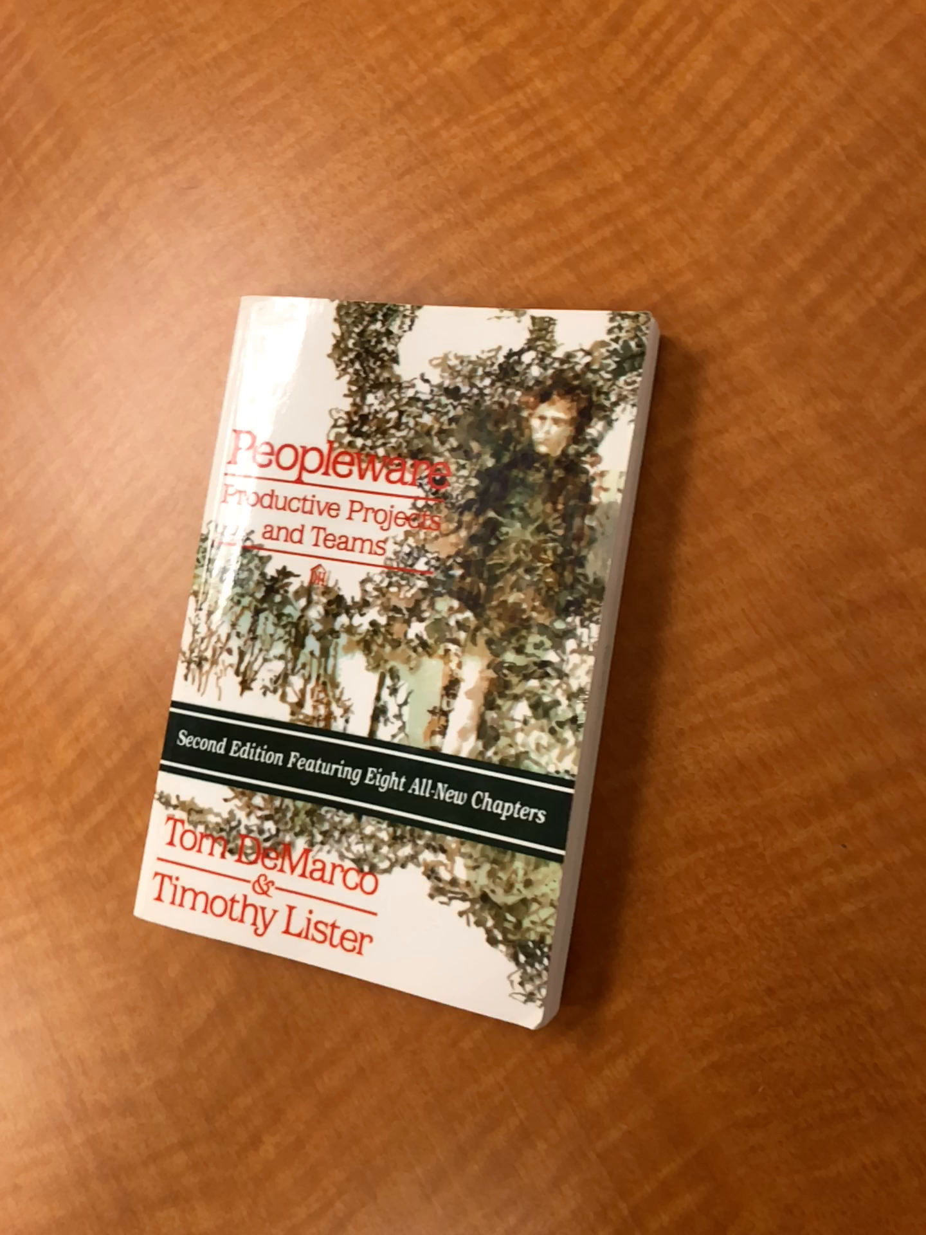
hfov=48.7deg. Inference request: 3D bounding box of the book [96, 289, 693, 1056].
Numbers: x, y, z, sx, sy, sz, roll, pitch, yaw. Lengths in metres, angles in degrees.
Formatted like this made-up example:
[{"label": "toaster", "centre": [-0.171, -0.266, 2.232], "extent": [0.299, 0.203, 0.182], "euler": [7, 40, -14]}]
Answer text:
[{"label": "book", "centre": [-0.021, 0.008, 0.347], "extent": [0.160, 0.050, 0.220], "euler": [8, 86, 18]}]
